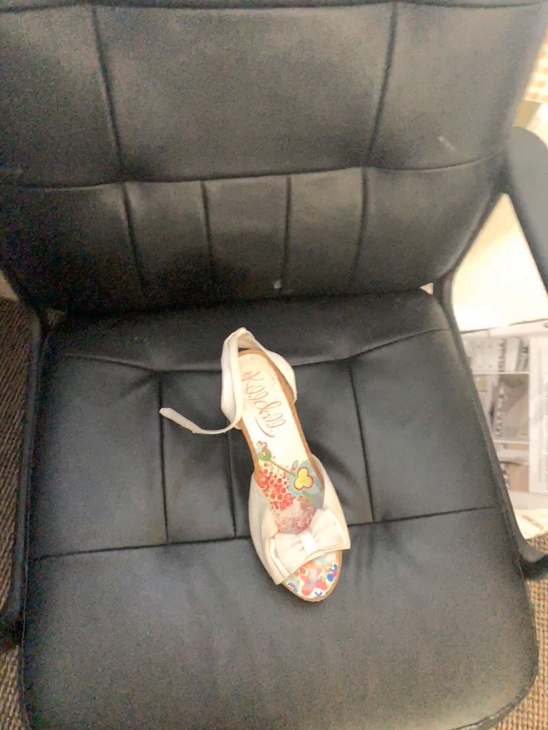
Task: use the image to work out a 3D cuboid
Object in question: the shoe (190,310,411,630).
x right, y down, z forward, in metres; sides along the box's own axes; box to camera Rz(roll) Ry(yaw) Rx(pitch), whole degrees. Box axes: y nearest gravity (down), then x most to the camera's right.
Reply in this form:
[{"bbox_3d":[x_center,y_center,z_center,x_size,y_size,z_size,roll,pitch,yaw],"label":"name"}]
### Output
[{"bbox_3d":[0.007,0.108,0.533,0.100,0.189,0.241,-16,67,-12],"label":"shoe"}]
